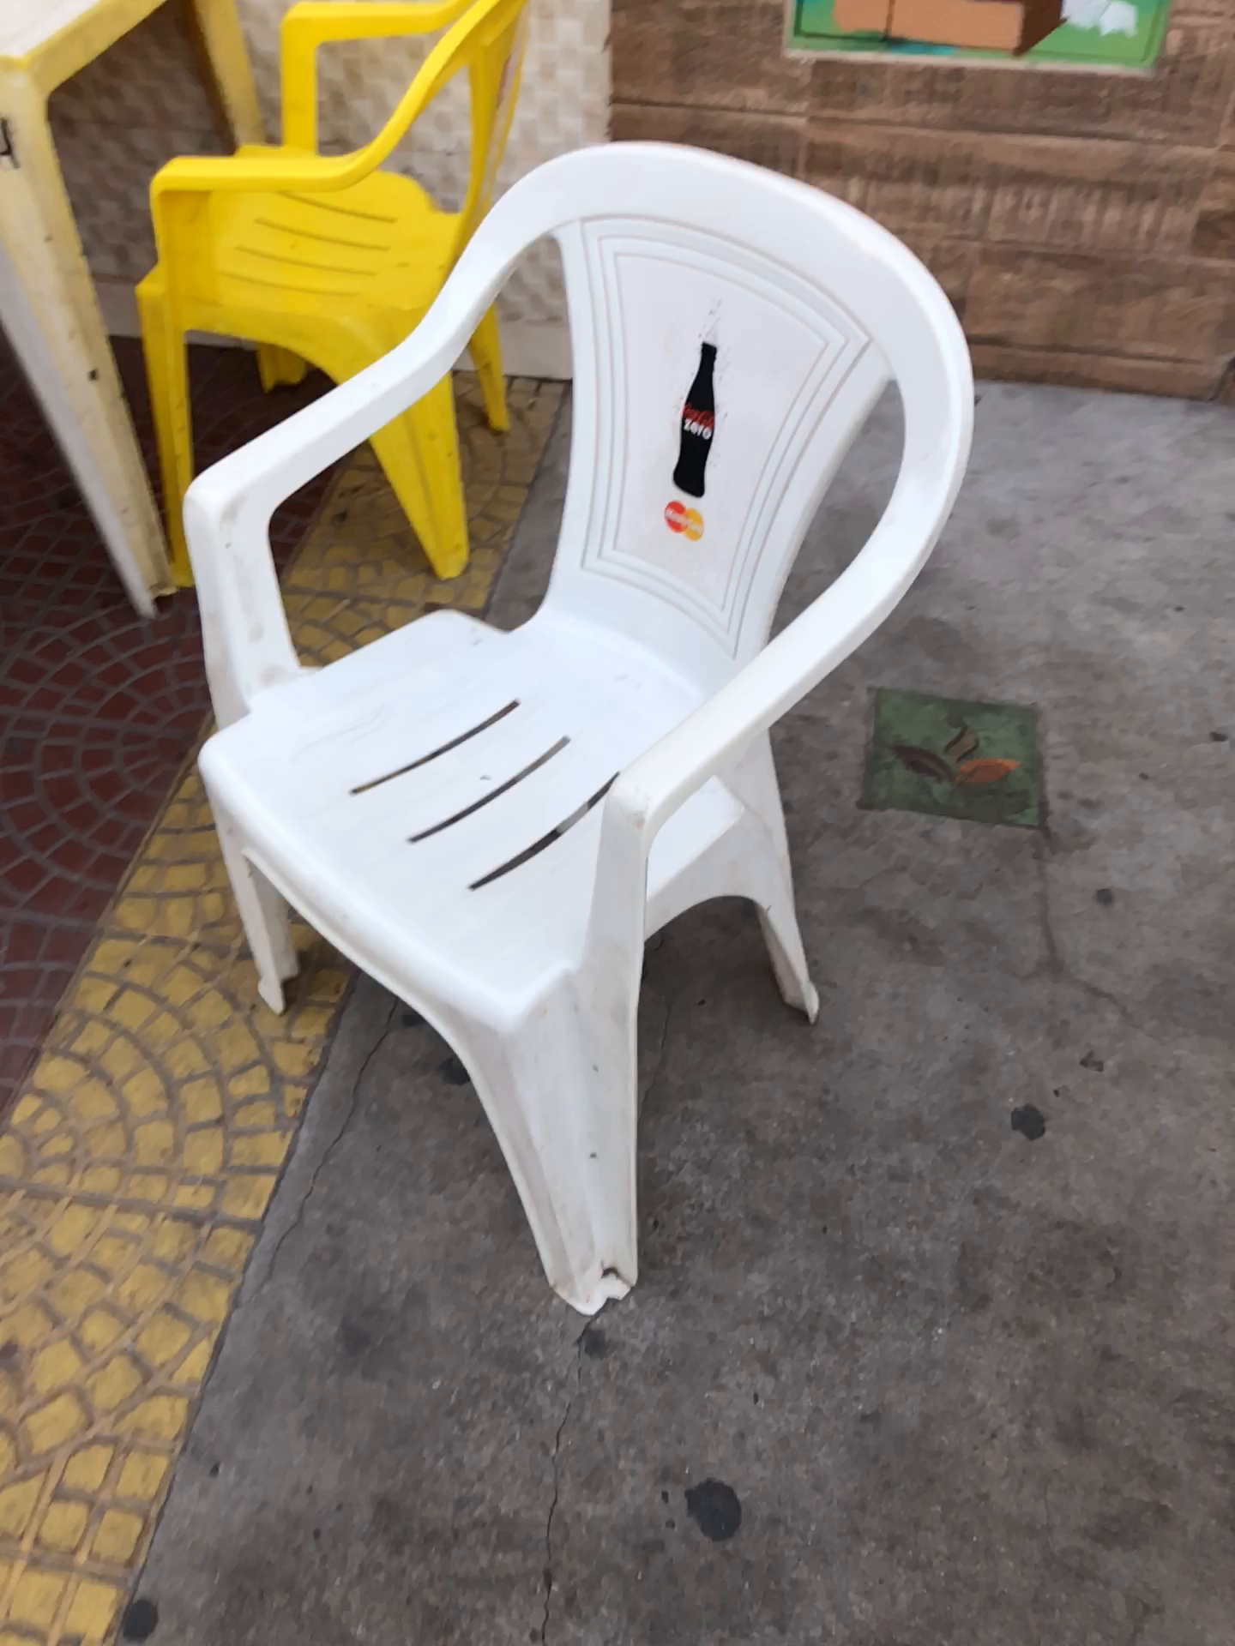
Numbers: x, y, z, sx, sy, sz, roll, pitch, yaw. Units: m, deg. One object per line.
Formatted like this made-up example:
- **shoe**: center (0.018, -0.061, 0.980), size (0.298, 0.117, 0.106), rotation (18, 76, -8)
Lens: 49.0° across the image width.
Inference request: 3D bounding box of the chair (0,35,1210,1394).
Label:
- **chair**: center (-0.061, -0.090, 1.124), size (0.552, 0.745, 0.642), rotation (-37, 58, -28)
